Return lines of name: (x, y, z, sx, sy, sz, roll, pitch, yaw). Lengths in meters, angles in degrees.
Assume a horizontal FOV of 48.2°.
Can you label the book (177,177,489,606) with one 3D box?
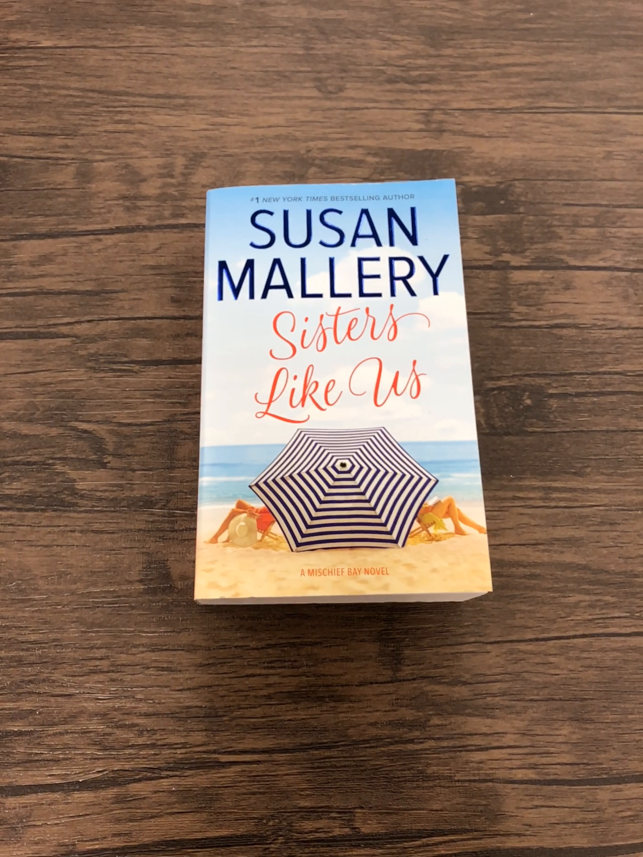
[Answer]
book: (0.003, -0.014, 0.281, 0.104, 0.043, 0.160, -1, 74, 1)
